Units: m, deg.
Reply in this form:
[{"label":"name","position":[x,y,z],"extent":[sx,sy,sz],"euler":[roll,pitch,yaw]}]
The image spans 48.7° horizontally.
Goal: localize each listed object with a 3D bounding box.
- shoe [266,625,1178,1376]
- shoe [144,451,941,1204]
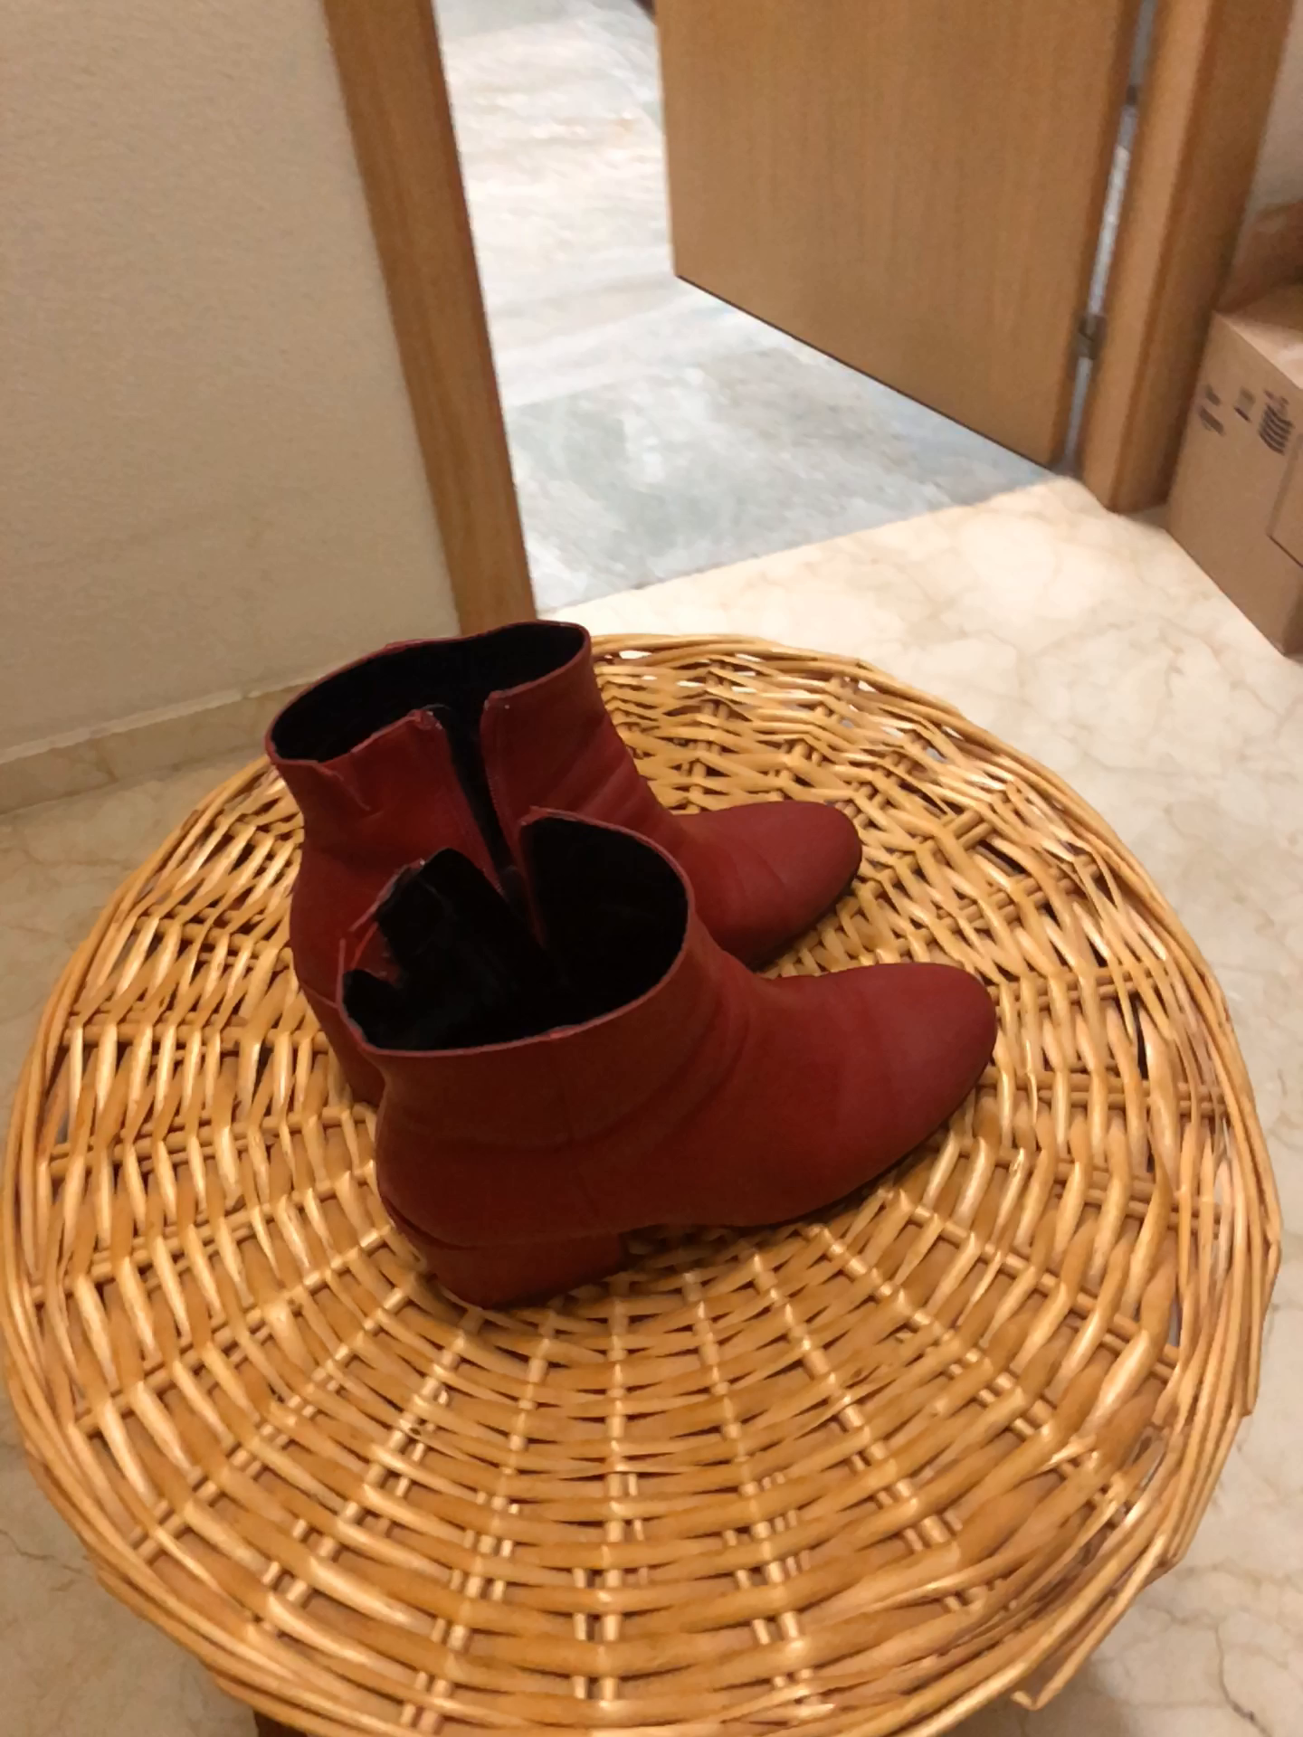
[{"label":"shoe","position":[0.023,0.050,0.486],"extent":[0.244,0.184,0.099],"euler":[-17,51,-9]},{"label":"shoe","position":[-0.028,-0.013,0.542],"extent":[0.245,0.184,0.099],"euler":[-26,53,-15]}]
